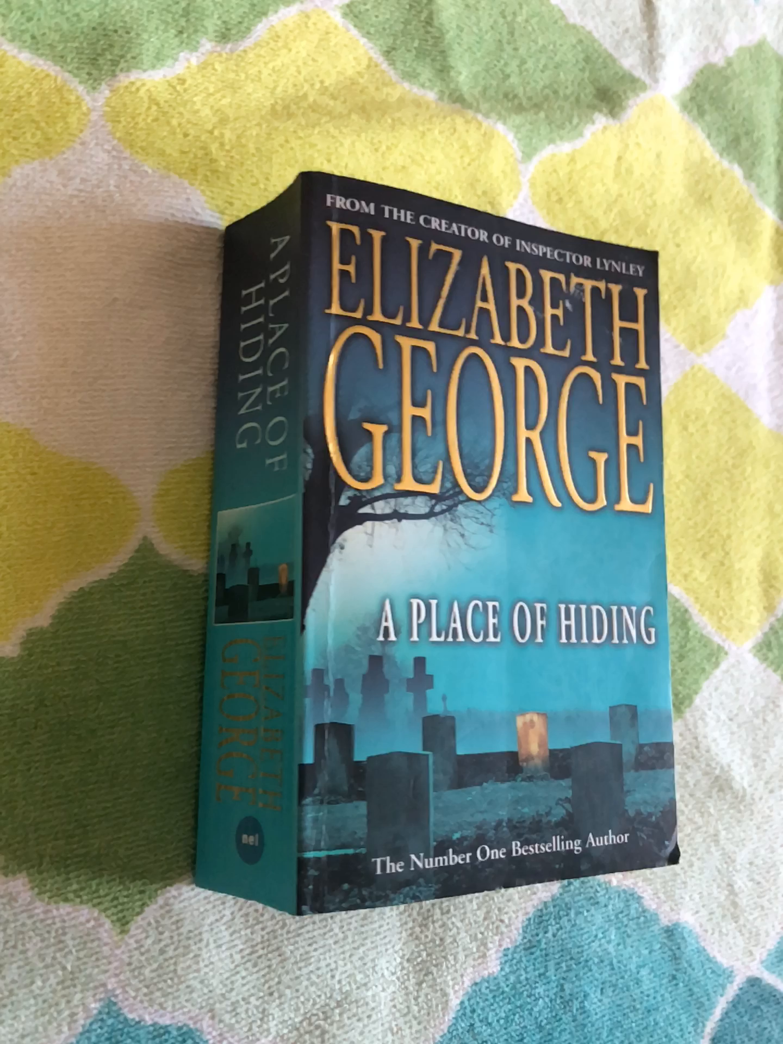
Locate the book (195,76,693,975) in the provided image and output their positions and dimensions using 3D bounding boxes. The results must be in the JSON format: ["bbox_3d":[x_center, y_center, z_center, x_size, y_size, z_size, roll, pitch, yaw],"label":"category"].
[{"bbox_3d":[0.018,0.002,0.267,0.130,0.070,0.210,4,83,-33],"label":"book"}]
